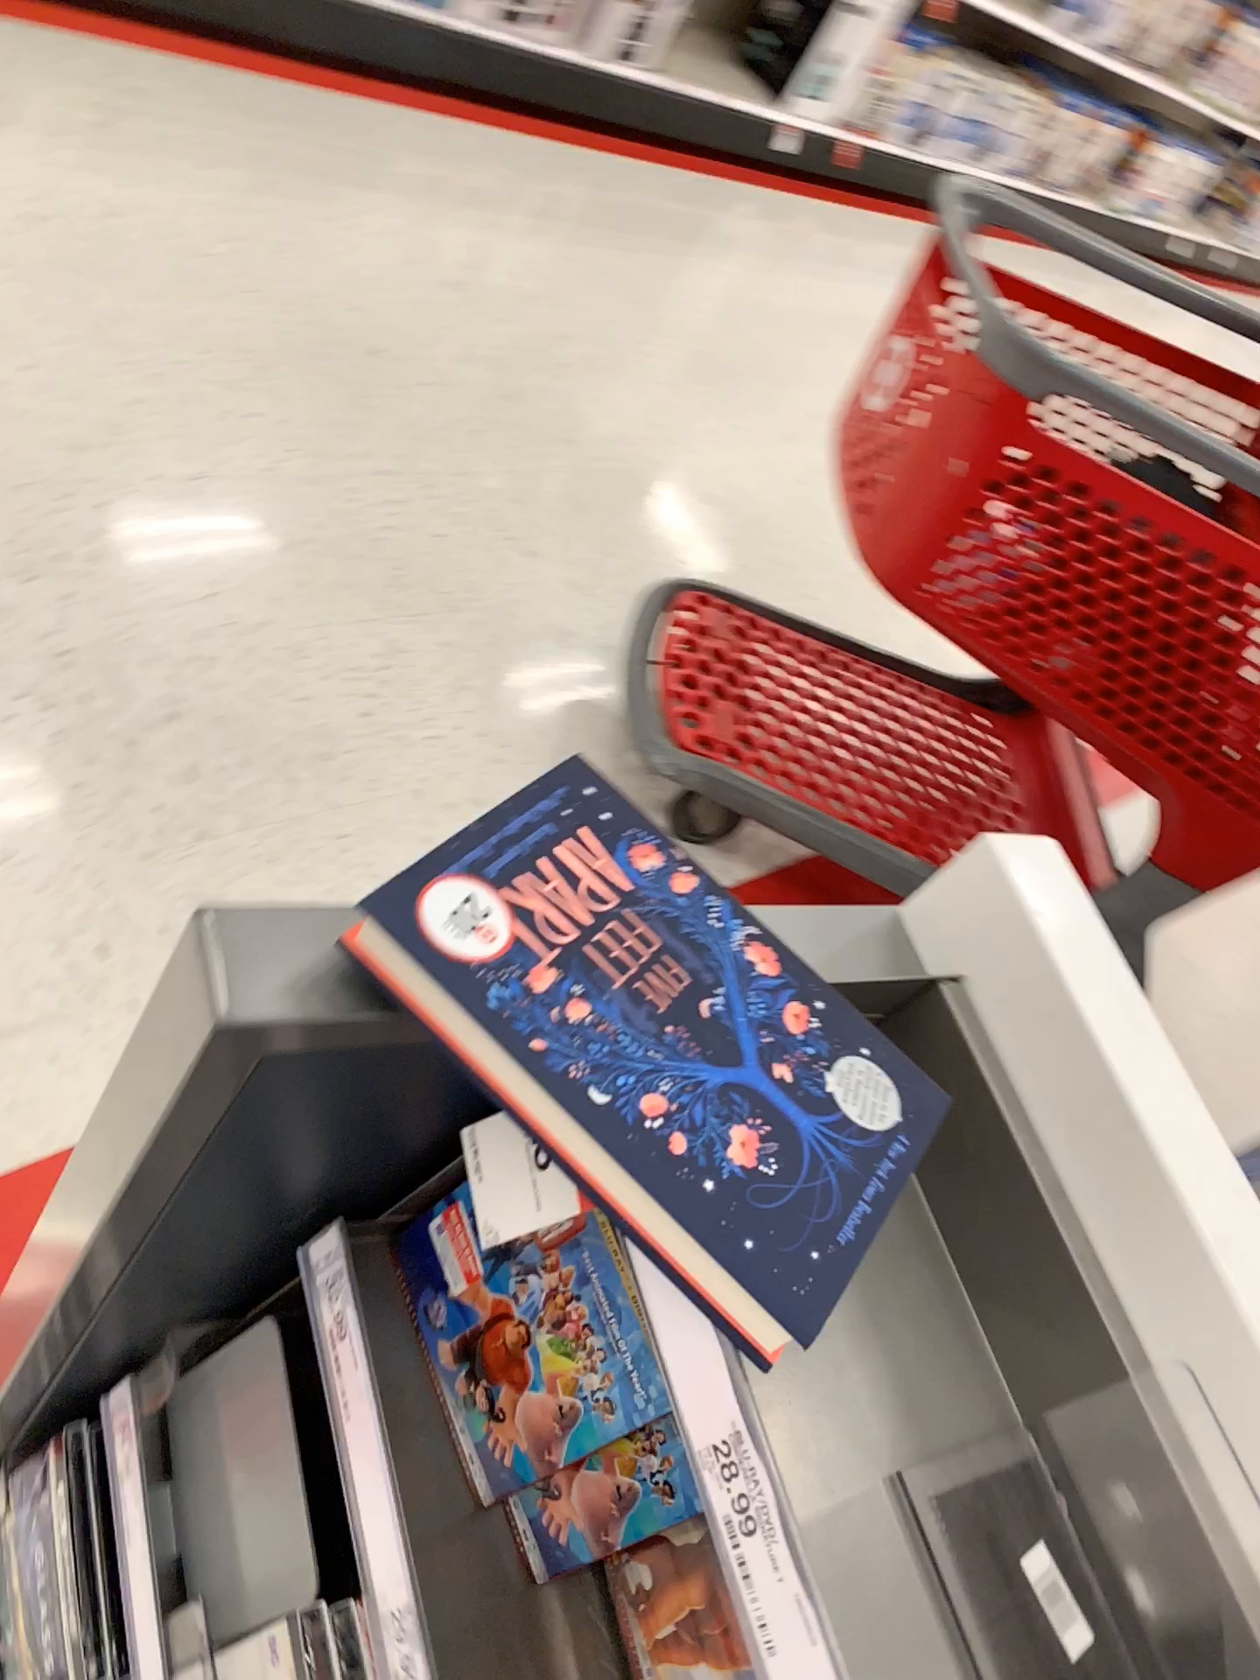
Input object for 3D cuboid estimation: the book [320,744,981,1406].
[{"bbox_3d":[0.017,0.072,0.483,0.220,0.028,0.151,42,40,7],"label":"book"}]
